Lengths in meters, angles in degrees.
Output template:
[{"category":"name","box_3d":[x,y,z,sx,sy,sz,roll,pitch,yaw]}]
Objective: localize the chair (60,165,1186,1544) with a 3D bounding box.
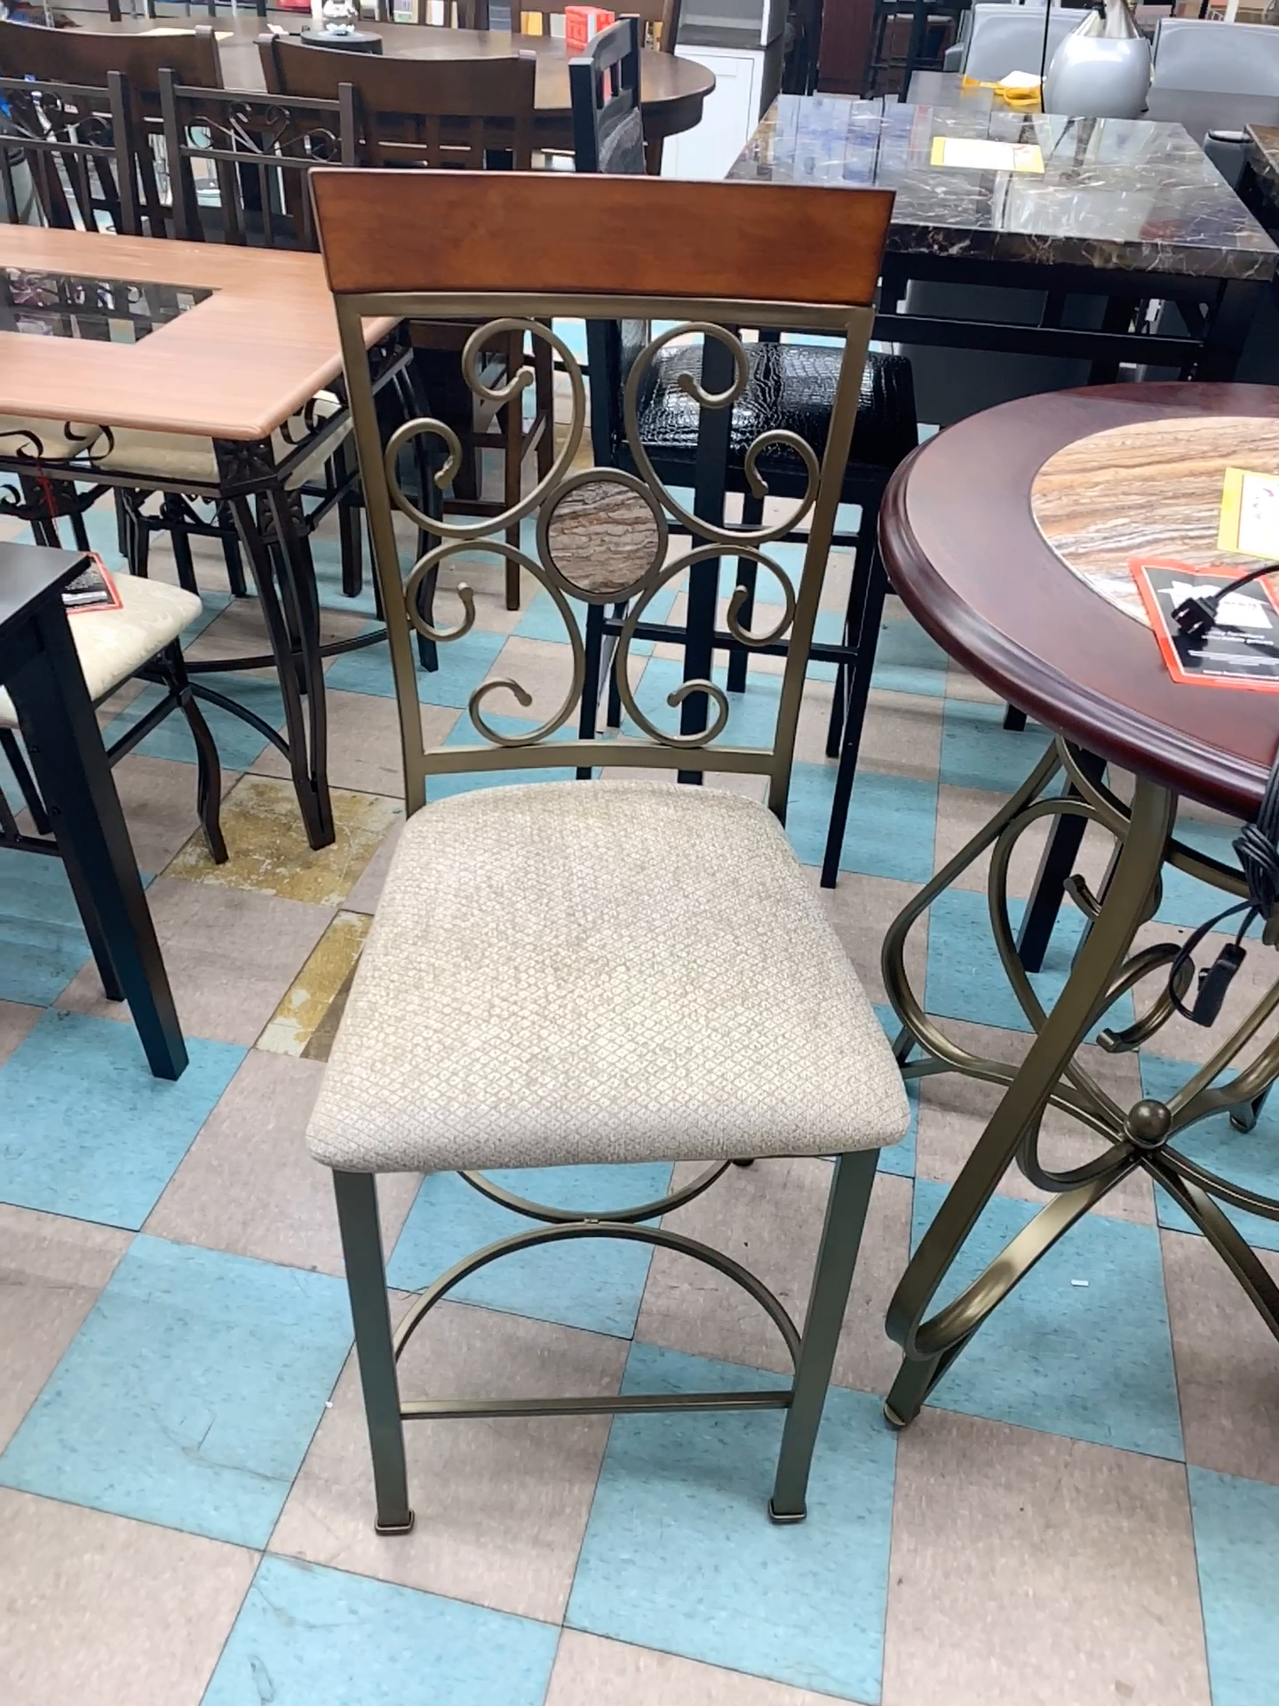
[{"category":"chair","box_3d":[-0.041,0.048,1.150,0.510,1.052,0.611,0,39,-4]}]
